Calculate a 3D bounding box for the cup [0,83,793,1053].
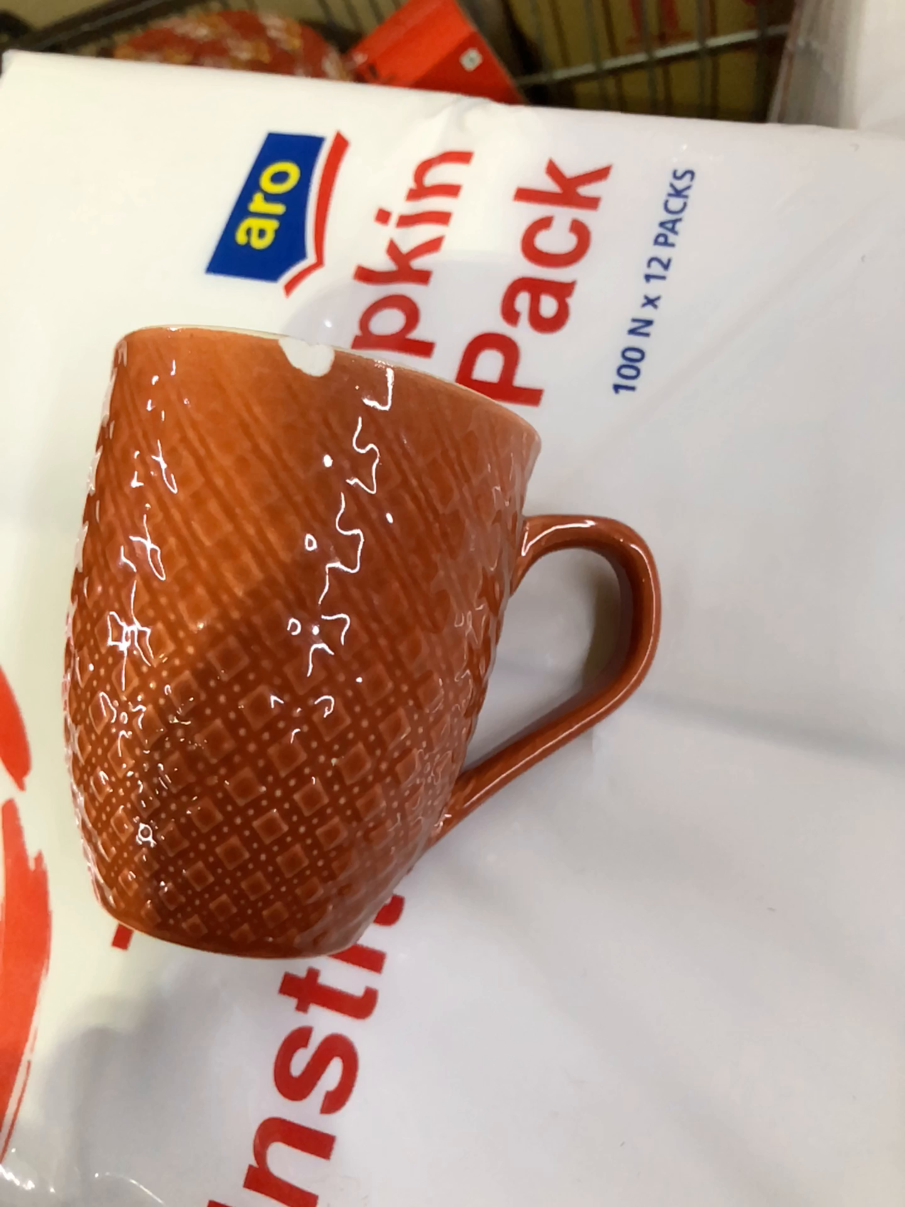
[{"bbox_3d":[-0.019,0.004,0.152,0.070,0.100,0.090,-4,70,62],"label":"cup"}]
